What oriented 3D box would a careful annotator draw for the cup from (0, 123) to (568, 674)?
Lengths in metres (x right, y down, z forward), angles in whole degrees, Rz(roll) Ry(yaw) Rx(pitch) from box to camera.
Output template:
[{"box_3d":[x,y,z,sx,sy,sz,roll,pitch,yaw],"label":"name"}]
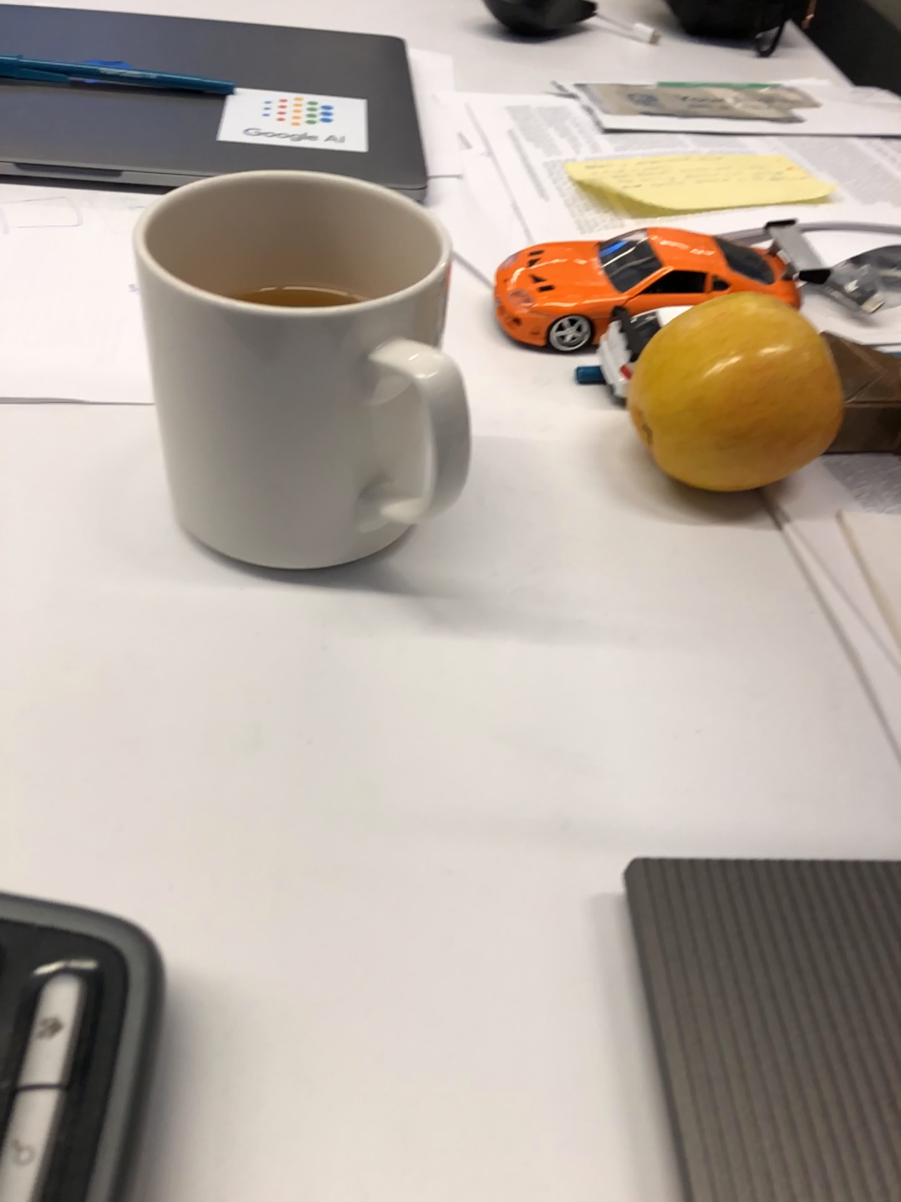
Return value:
[{"box_3d":[-0.047,-0.061,0.267,0.120,0.080,0.080,36,51,27],"label":"cup"}]
